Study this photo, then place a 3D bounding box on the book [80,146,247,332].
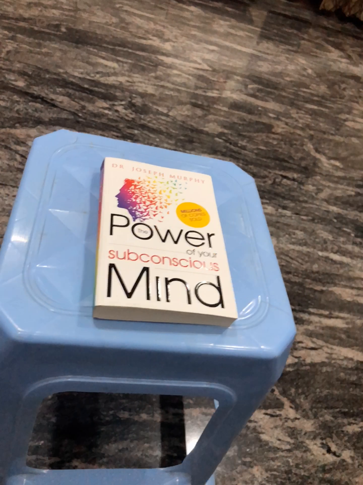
[{"bbox_3d":[-0.022,-0.012,0.408,0.140,0.030,0.201,7,49,-16],"label":"book"}]
